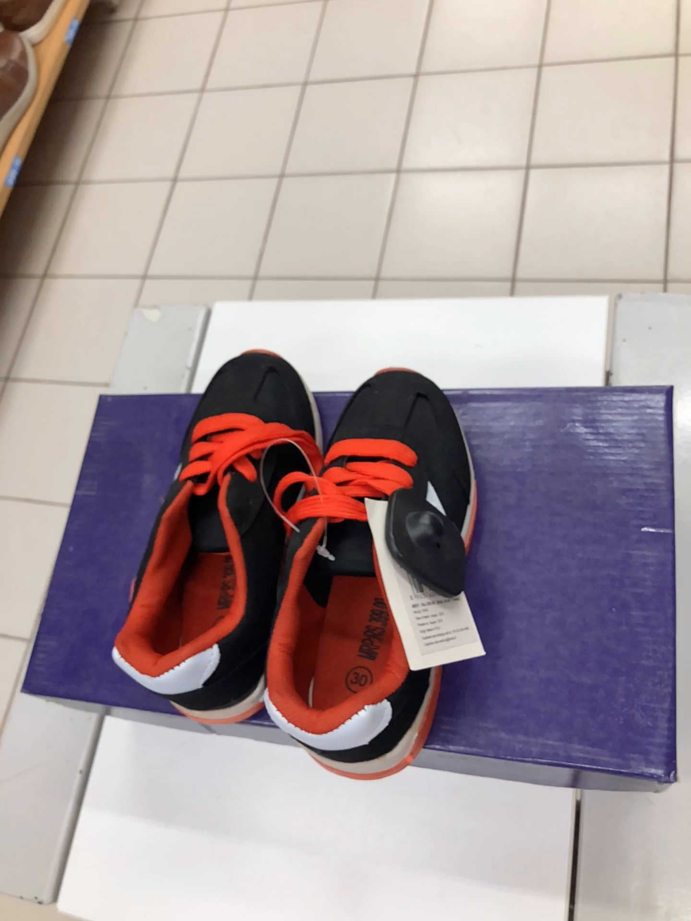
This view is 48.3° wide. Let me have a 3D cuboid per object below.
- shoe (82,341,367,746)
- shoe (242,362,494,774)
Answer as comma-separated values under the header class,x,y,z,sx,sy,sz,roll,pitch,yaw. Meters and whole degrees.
class,x,y,z,sx,sy,sz,roll,pitch,yaw
shoe,-0.050,0.044,0.395,0.080,0.100,0.180,1,69,17
shoe,0.021,0.053,0.368,0.080,0.100,0.170,1,69,17
